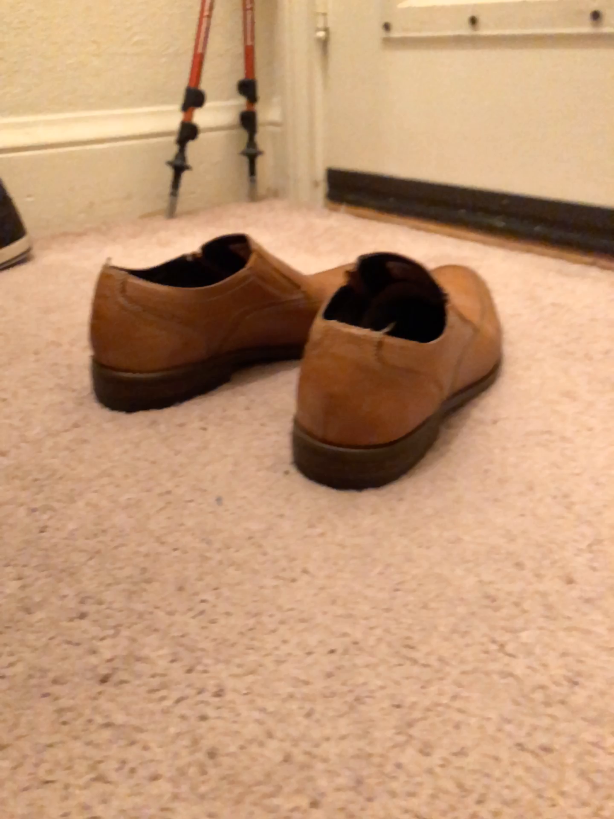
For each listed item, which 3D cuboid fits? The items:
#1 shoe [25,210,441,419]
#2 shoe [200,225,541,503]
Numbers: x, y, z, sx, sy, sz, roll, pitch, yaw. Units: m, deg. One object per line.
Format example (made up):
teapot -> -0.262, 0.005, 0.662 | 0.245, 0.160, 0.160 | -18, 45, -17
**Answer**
shoe -> -0.040, -0.093, 0.548 | 0.321, 0.090, 0.100 | -19, 32, -37
shoe -> 0.067, -0.059, 0.486 | 0.107, 0.089, 0.312 | 15, 28, 27
